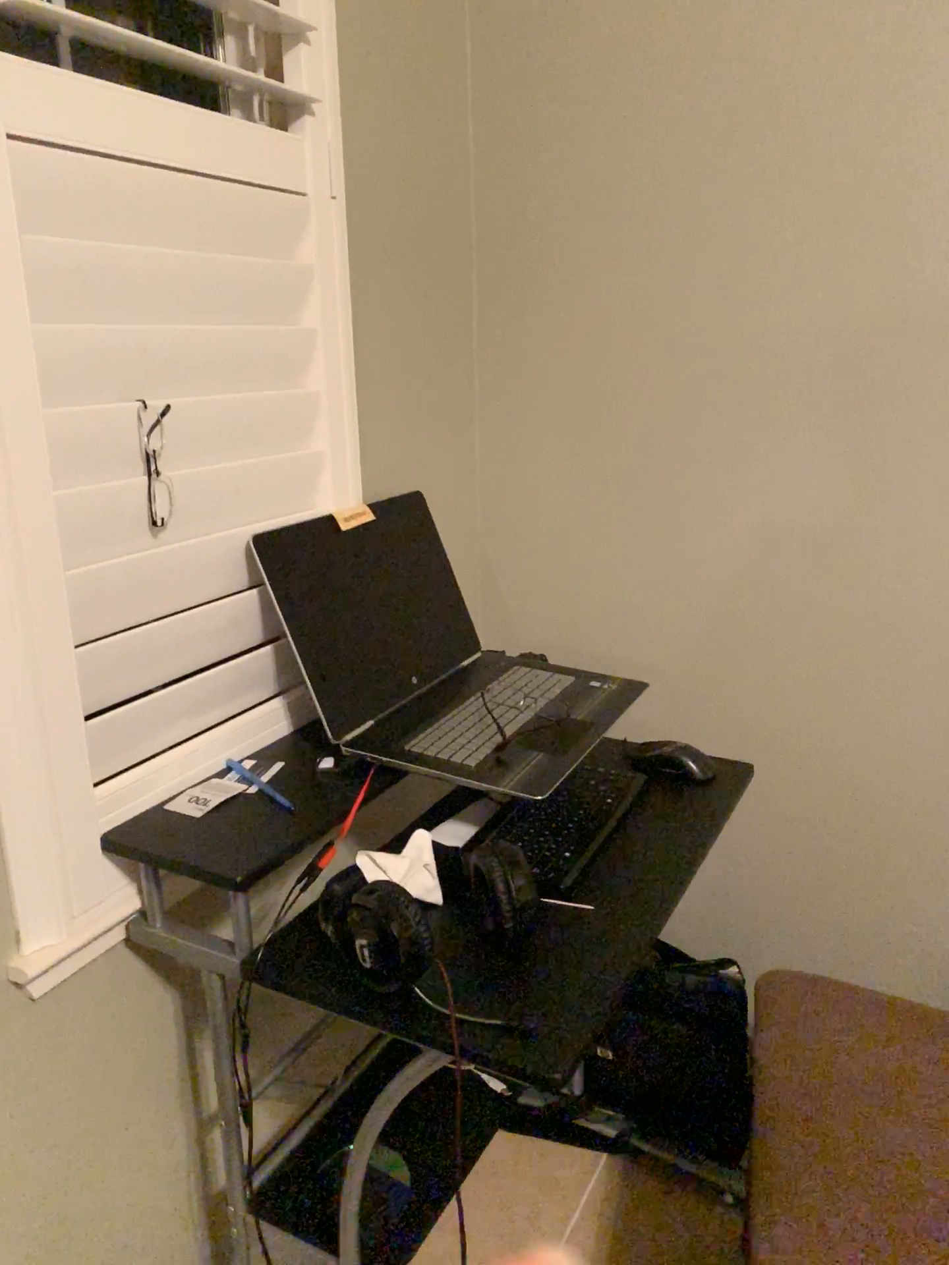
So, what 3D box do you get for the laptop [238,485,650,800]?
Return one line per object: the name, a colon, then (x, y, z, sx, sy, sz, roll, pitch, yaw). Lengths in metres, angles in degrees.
laptop: (-0.017, -0.025, 1.383, 0.418, 0.264, 0.434, 10, 19, 25)
